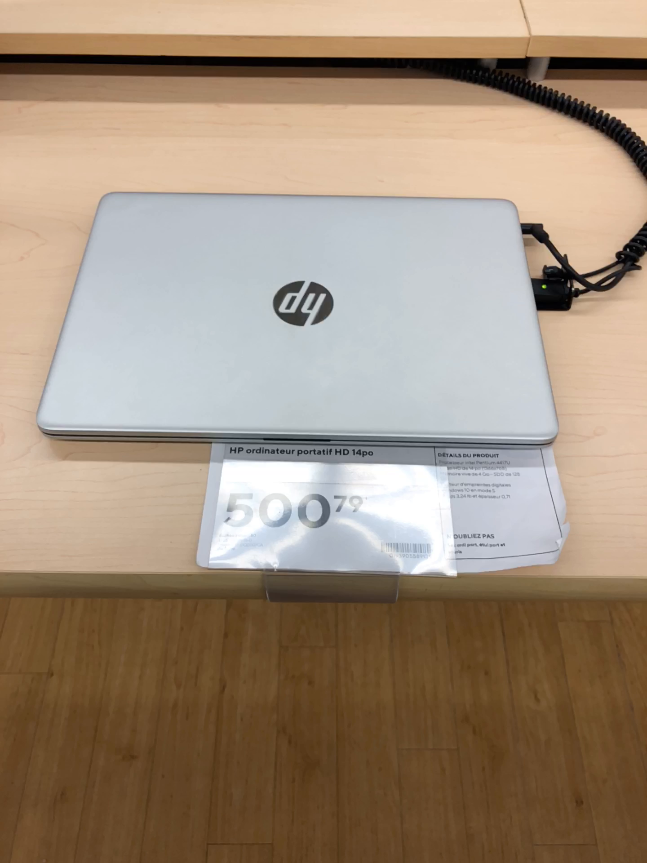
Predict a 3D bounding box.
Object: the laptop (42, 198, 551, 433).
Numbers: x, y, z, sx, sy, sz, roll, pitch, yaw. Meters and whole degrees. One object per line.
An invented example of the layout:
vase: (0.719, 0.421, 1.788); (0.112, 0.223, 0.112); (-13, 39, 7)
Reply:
laptop: (-0.013, -0.088, 0.492); (0.309, 0.004, 0.205); (1, 57, -2)
